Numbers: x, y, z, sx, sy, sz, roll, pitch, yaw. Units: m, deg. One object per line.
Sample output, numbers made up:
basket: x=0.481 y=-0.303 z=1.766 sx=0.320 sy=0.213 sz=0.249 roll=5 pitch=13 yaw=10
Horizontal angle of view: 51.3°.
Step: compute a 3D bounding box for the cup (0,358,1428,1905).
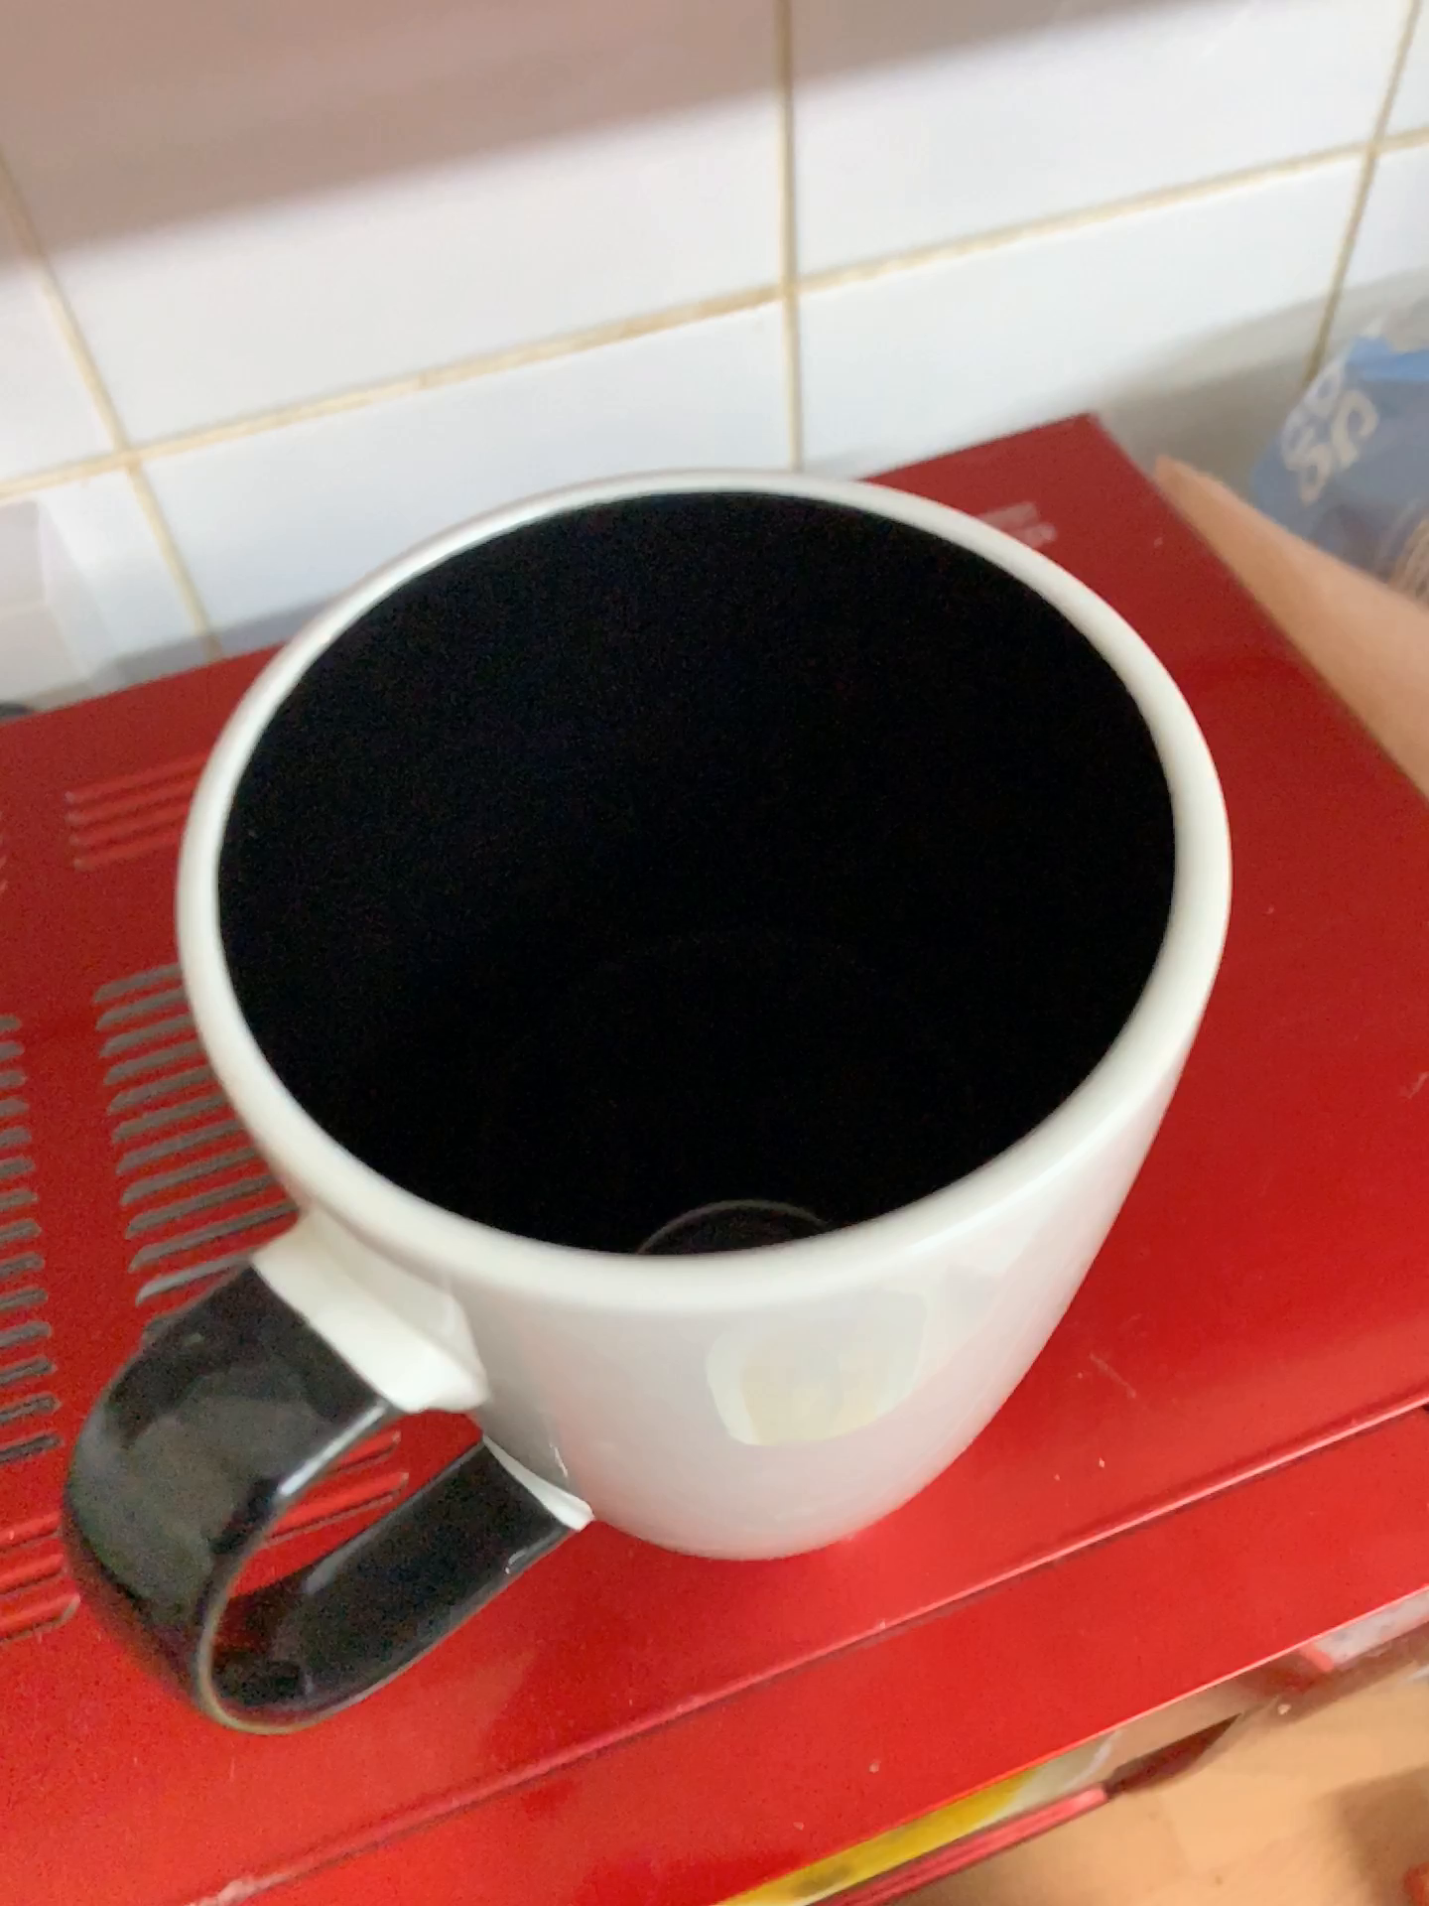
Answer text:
cup: x=-0.009 y=0.032 z=0.178 sx=0.130 sy=0.129 sz=0.090 roll=-33 pitch=60 yaw=-18
